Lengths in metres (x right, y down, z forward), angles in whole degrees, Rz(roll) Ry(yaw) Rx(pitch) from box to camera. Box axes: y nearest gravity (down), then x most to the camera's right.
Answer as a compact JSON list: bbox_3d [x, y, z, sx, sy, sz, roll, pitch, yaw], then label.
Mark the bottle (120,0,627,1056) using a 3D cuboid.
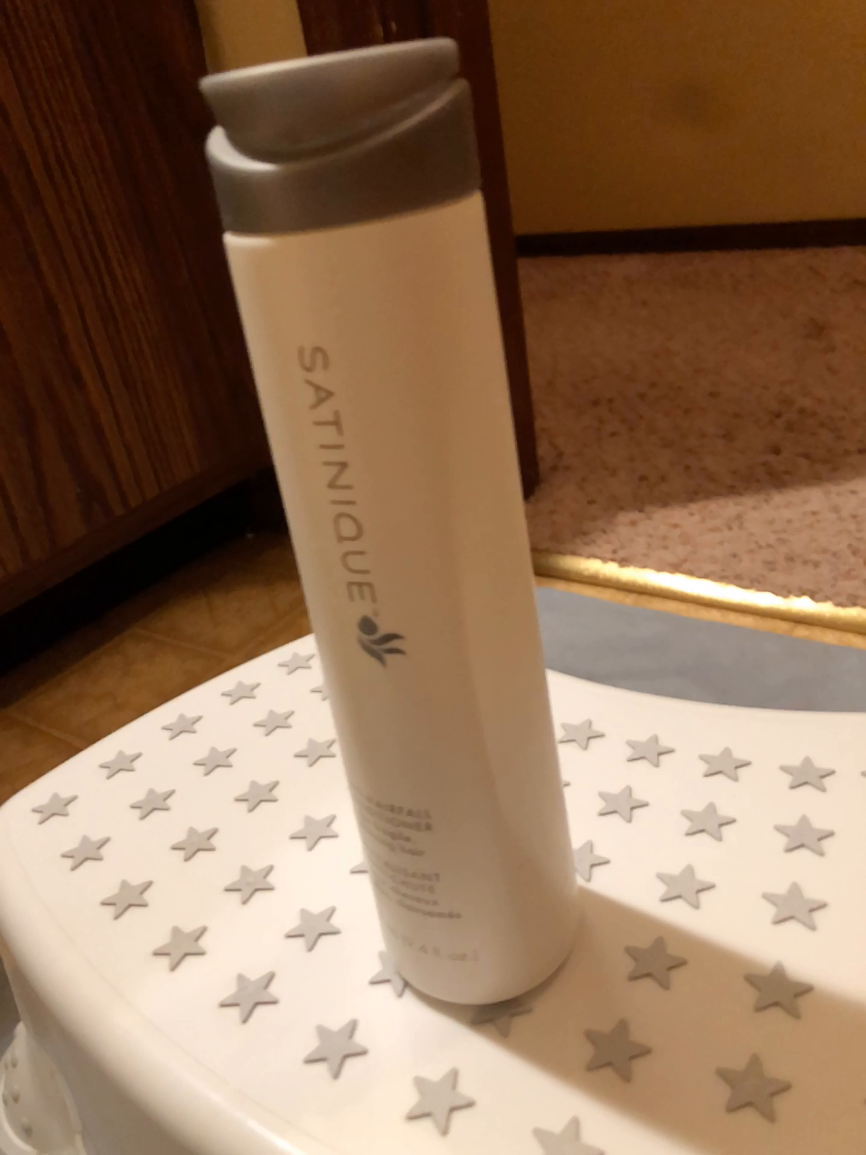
[{"bbox_3d":[-0.001,0.001,0.206,0.050,0.209,0.050,-8,26,4],"label":"bottle"}]
